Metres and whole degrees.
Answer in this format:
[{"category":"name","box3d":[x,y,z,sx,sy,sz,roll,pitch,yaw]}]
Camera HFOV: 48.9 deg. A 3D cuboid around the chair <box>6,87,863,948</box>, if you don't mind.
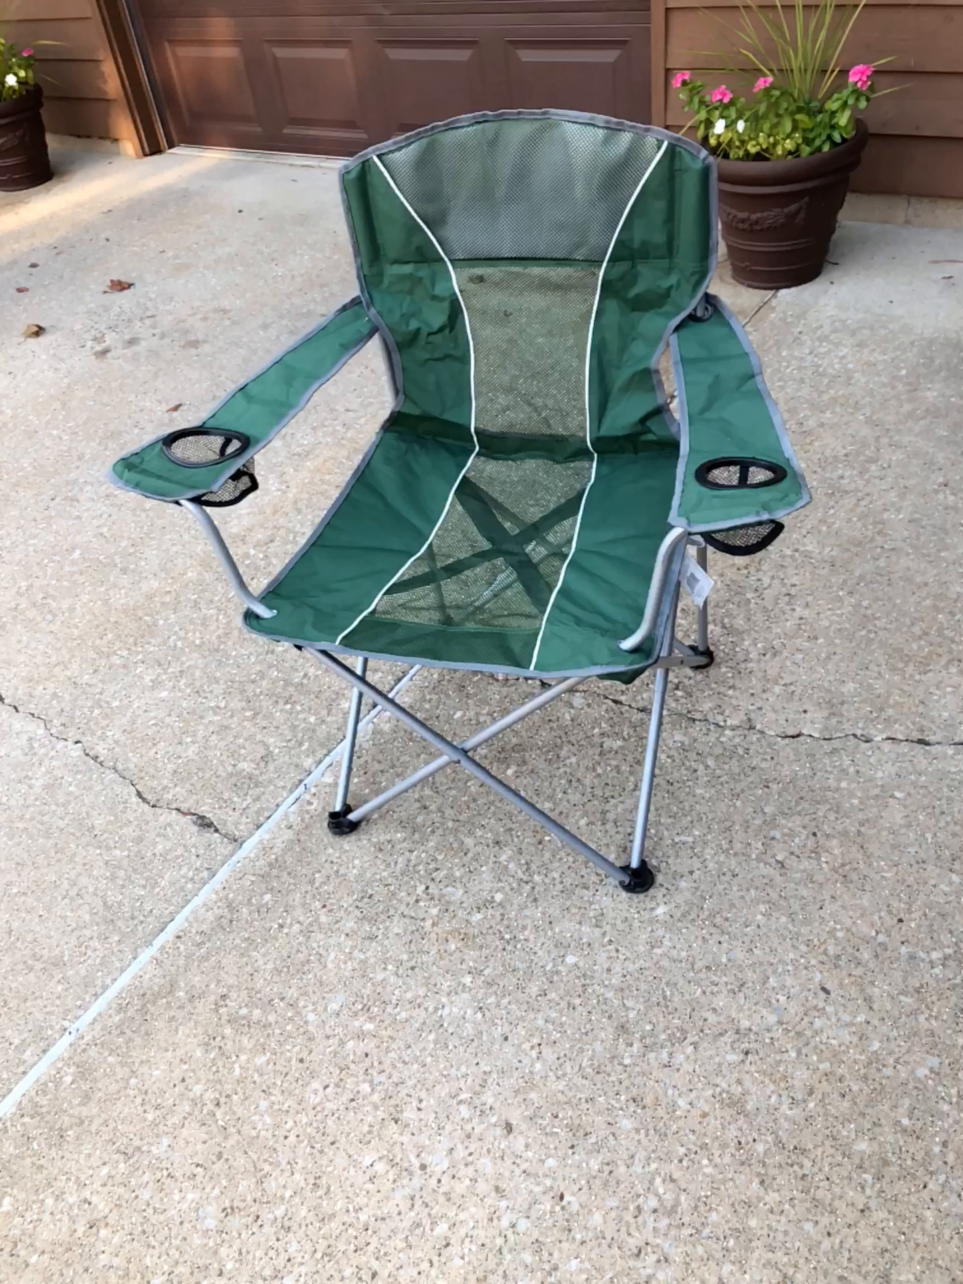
[{"category":"chair","box3d":[0.034,-0.191,1.508,0.821,0.907,0.641,8,42,20]}]
